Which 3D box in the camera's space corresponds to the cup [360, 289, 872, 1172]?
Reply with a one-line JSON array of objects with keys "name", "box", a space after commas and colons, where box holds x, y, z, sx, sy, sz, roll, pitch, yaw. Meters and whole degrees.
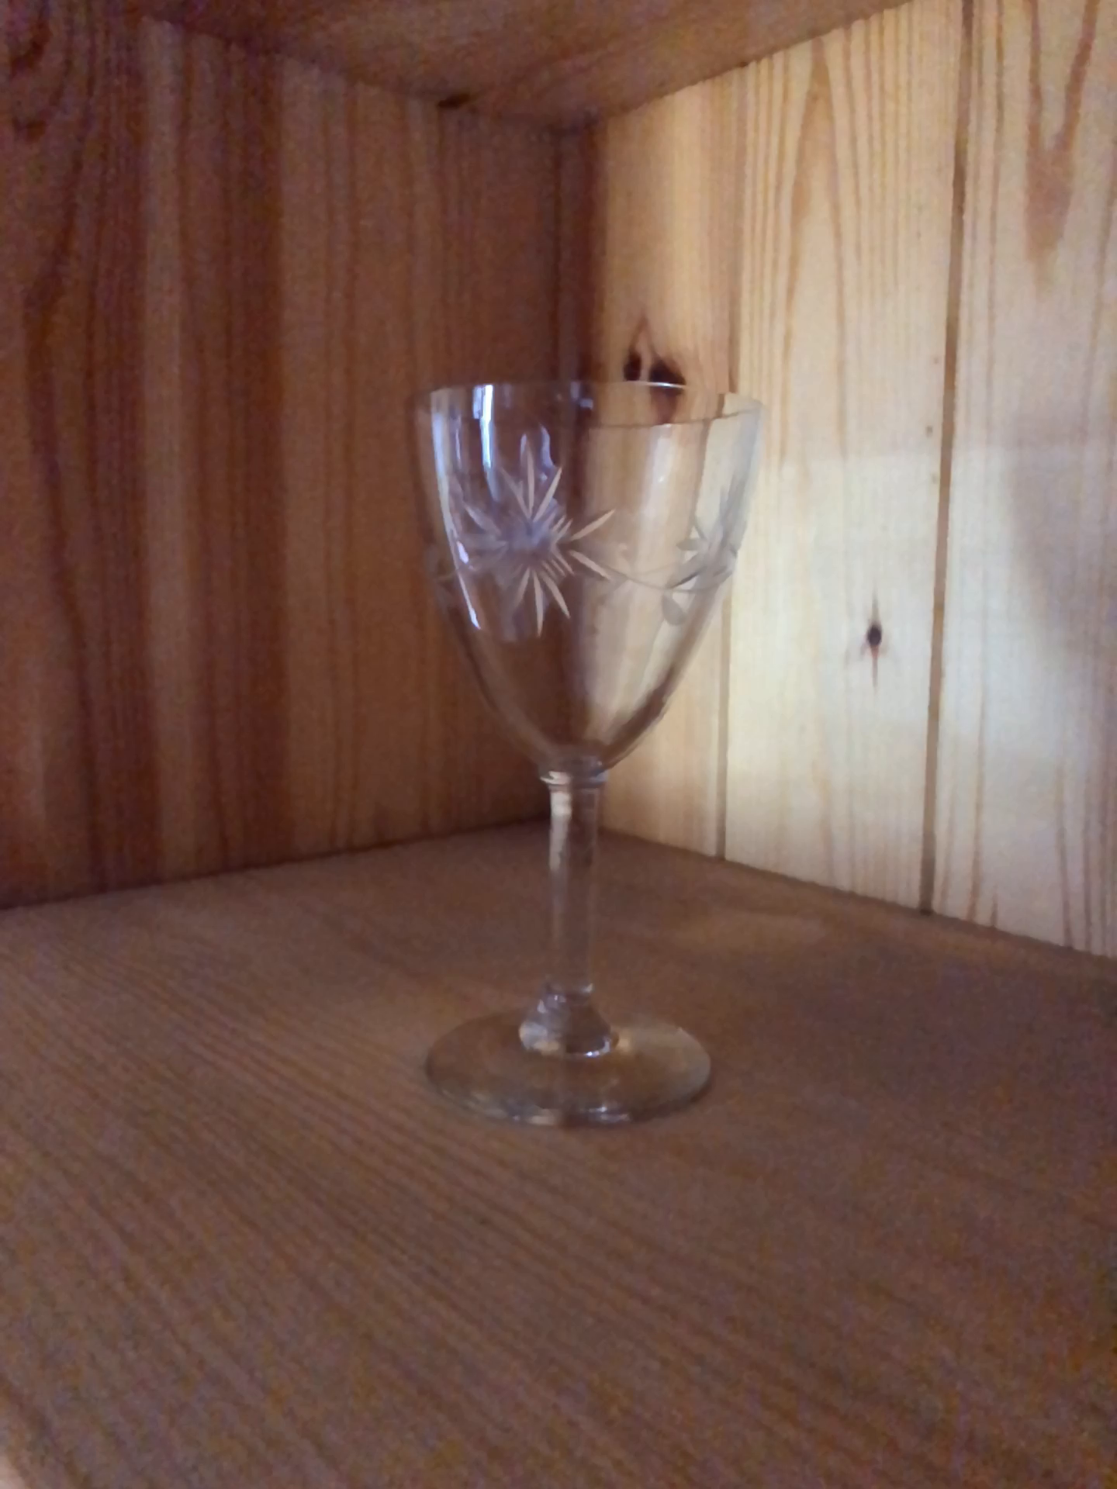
[{"name": "cup", "box": [0.007, -0.006, 0.242, 0.070, 0.140, 0.070, 1, 8, 0]}]
